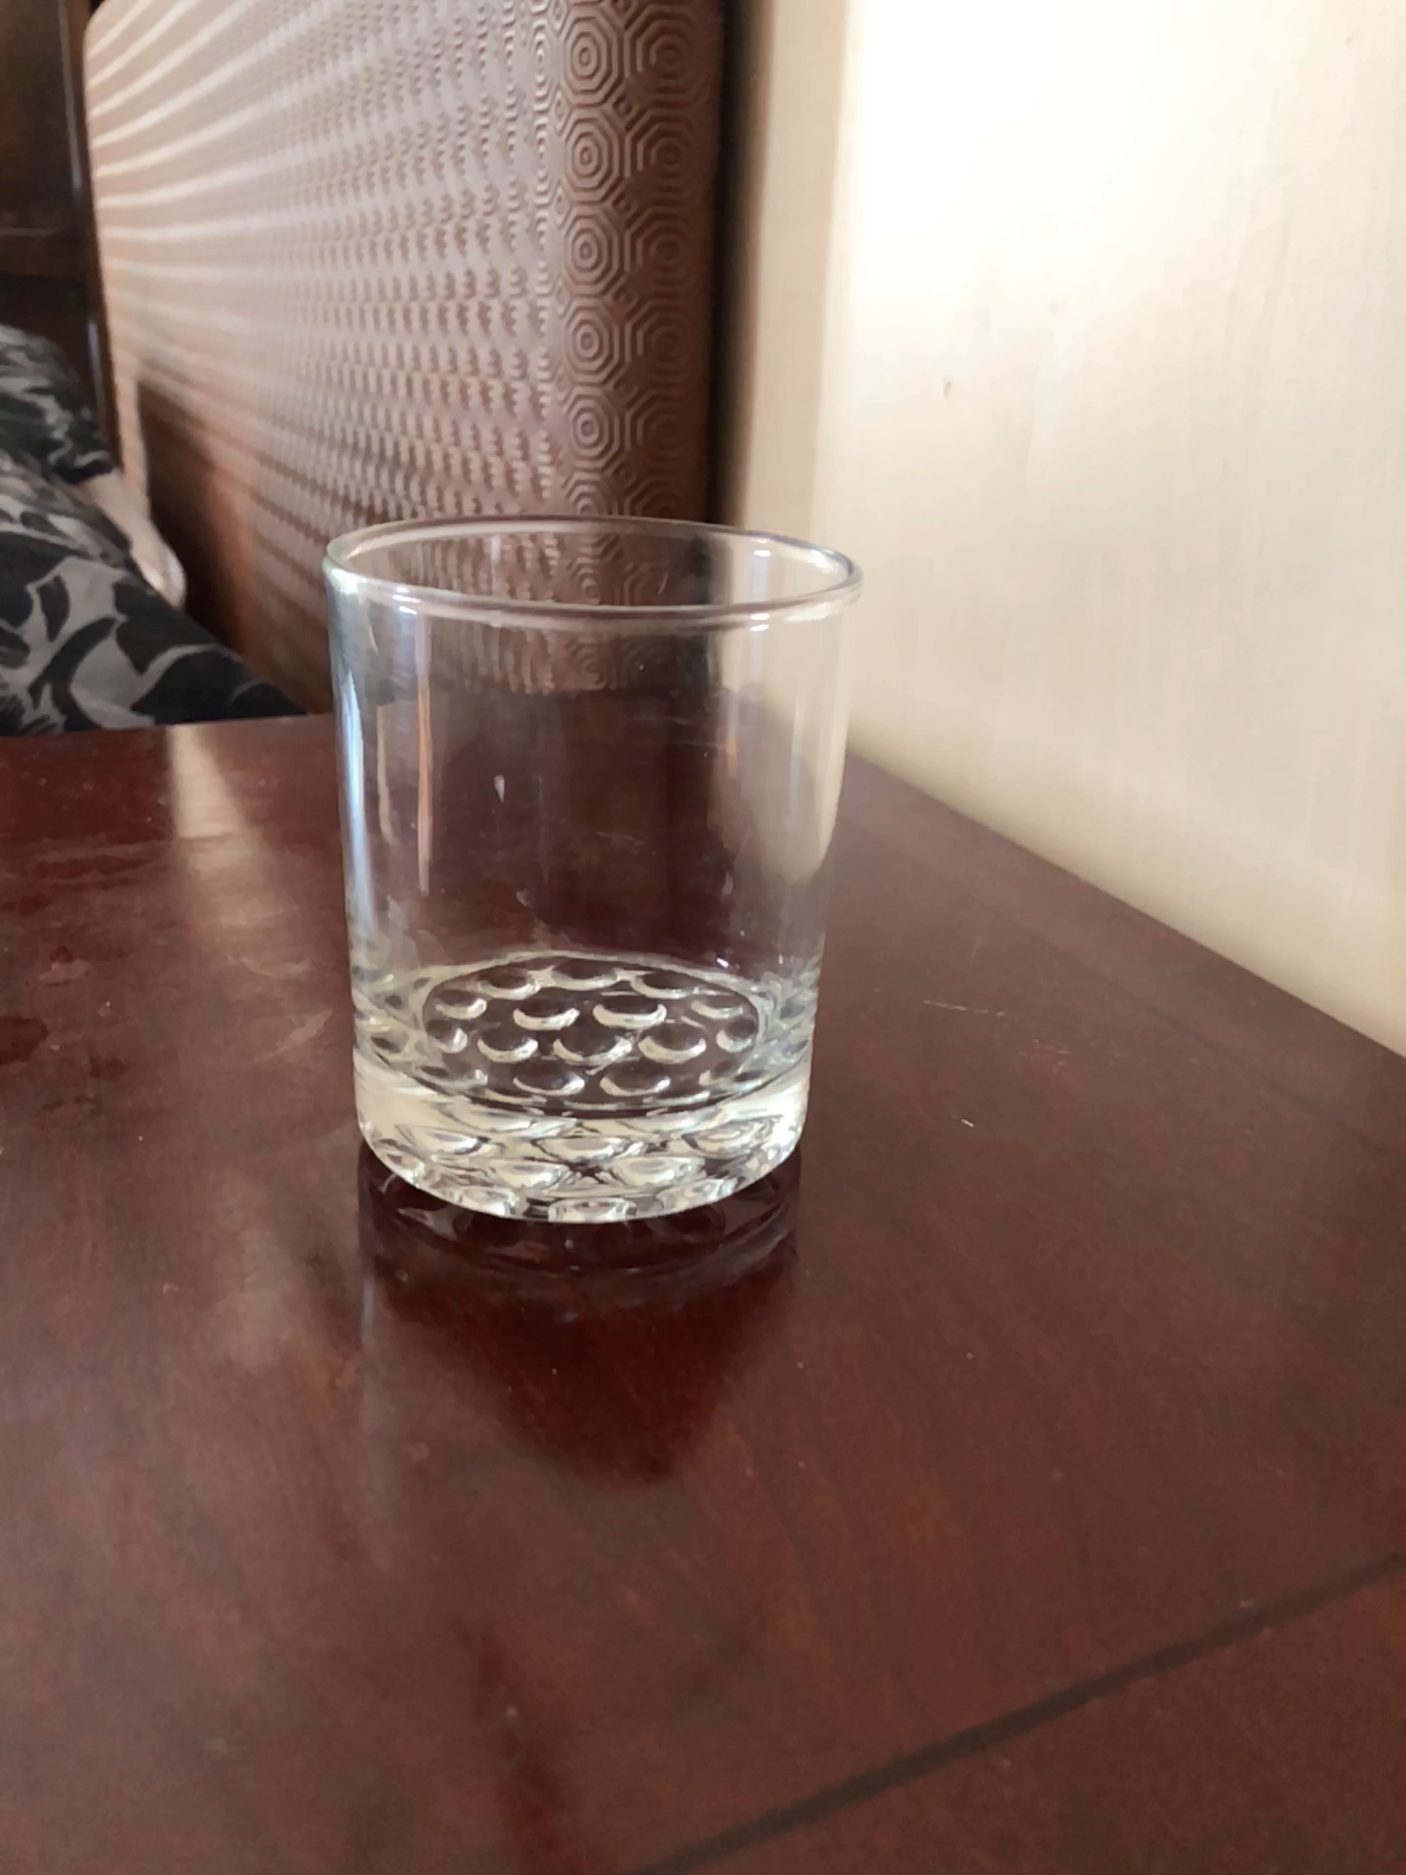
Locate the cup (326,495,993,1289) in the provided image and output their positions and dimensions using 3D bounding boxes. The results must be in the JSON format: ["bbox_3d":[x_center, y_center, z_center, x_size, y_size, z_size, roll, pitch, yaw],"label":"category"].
[{"bbox_3d":[-0.014,-0.014,0.244,0.082,0.097,0.081,2,22,-1],"label":"cup"}]
